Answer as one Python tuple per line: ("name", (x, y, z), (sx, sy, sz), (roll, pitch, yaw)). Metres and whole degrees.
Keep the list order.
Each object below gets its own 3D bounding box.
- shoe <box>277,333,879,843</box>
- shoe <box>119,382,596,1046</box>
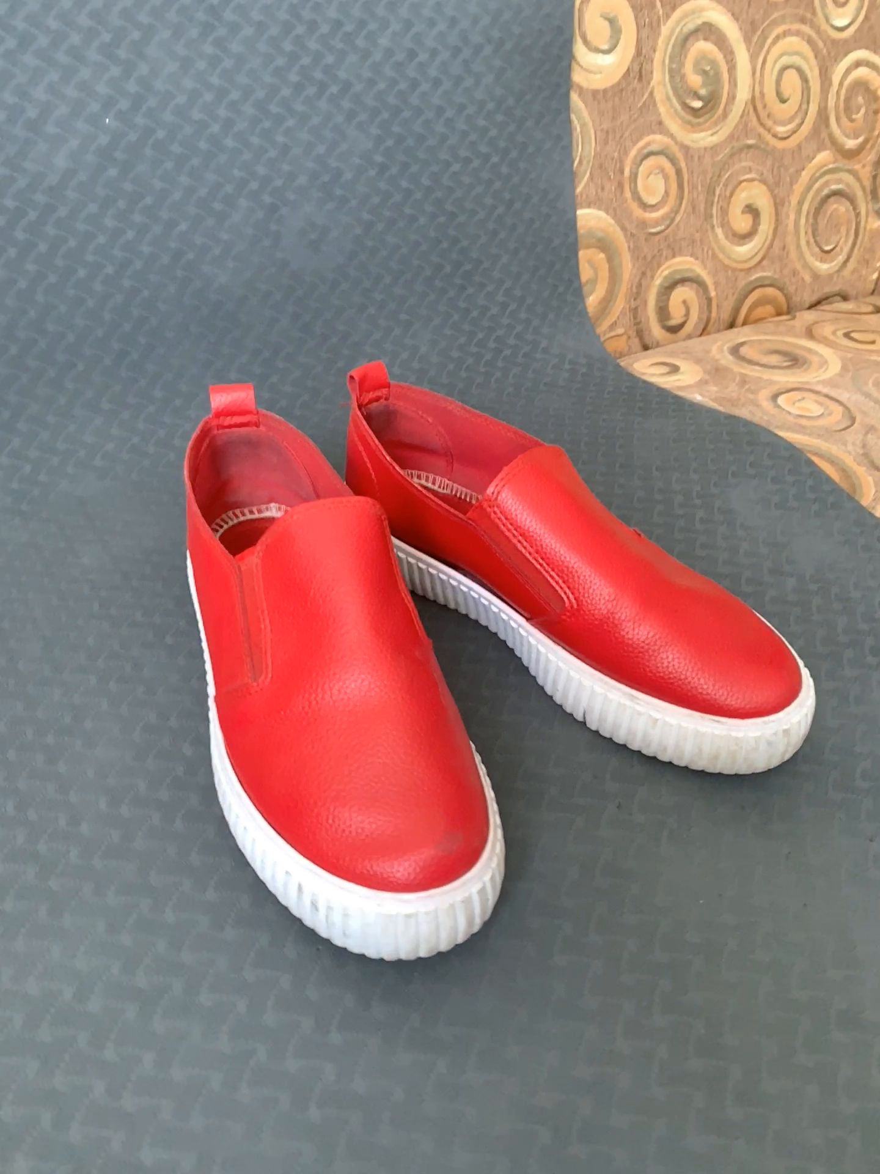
("shoe", (0.050, -0.016, 0.378), (0.241, 0.070, 0.096), (33, 49, 27))
("shoe", (-0.048, 0.020, 0.335), (0.095, 0.070, 0.241), (-12, 45, -19))
